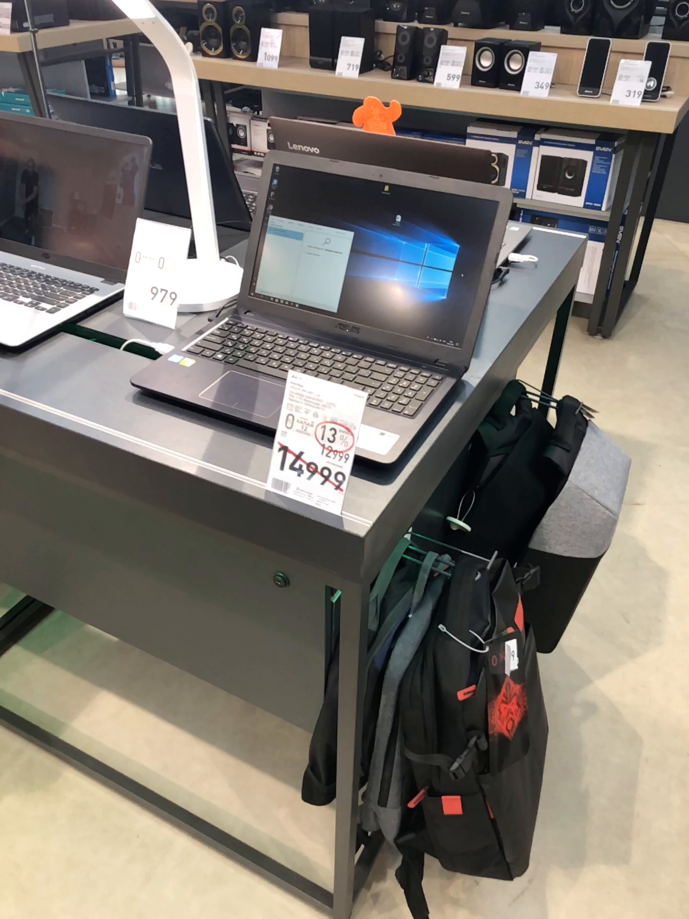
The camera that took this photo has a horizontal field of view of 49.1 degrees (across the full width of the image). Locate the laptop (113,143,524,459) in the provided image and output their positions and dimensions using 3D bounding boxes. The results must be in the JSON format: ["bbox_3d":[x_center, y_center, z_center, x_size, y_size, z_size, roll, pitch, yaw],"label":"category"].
[{"bbox_3d":[-0.018,-0.239,0.996,0.380,0.209,0.372,17,40,22],"label":"laptop"}]
